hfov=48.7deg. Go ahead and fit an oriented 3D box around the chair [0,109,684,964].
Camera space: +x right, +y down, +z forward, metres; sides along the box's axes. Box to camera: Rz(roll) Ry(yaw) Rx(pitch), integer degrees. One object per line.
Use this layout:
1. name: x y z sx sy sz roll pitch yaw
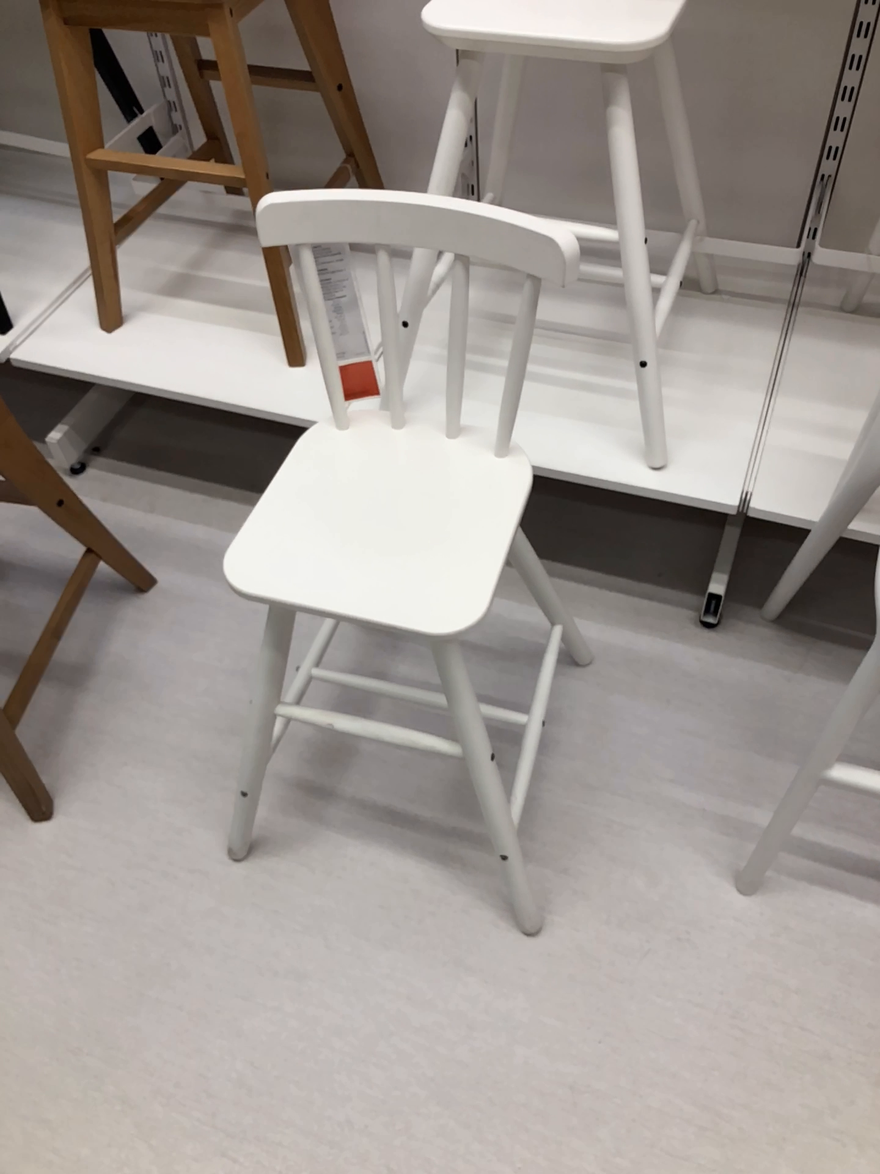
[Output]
1. chair: -0.044 -0.014 1.115 0.470 0.795 0.503 11 52 13
